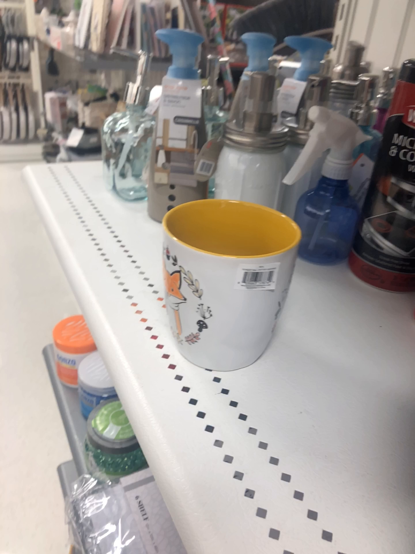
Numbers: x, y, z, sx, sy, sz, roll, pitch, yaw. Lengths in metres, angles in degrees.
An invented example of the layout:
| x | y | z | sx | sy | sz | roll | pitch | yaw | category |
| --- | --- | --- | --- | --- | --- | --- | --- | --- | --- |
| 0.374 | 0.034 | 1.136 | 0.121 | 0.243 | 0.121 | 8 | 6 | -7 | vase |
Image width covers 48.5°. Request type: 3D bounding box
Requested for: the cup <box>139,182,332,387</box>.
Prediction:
| x | y | z | sx | sy | sz | roll | pitch | yaw | category |
| --- | --- | --- | --- | --- | --- | --- | --- | --- | --- |
| 0.007 | -0.005 | 0.348 | 0.099 | 0.093 | 0.134 | -4 | 31 | -16 | cup |
